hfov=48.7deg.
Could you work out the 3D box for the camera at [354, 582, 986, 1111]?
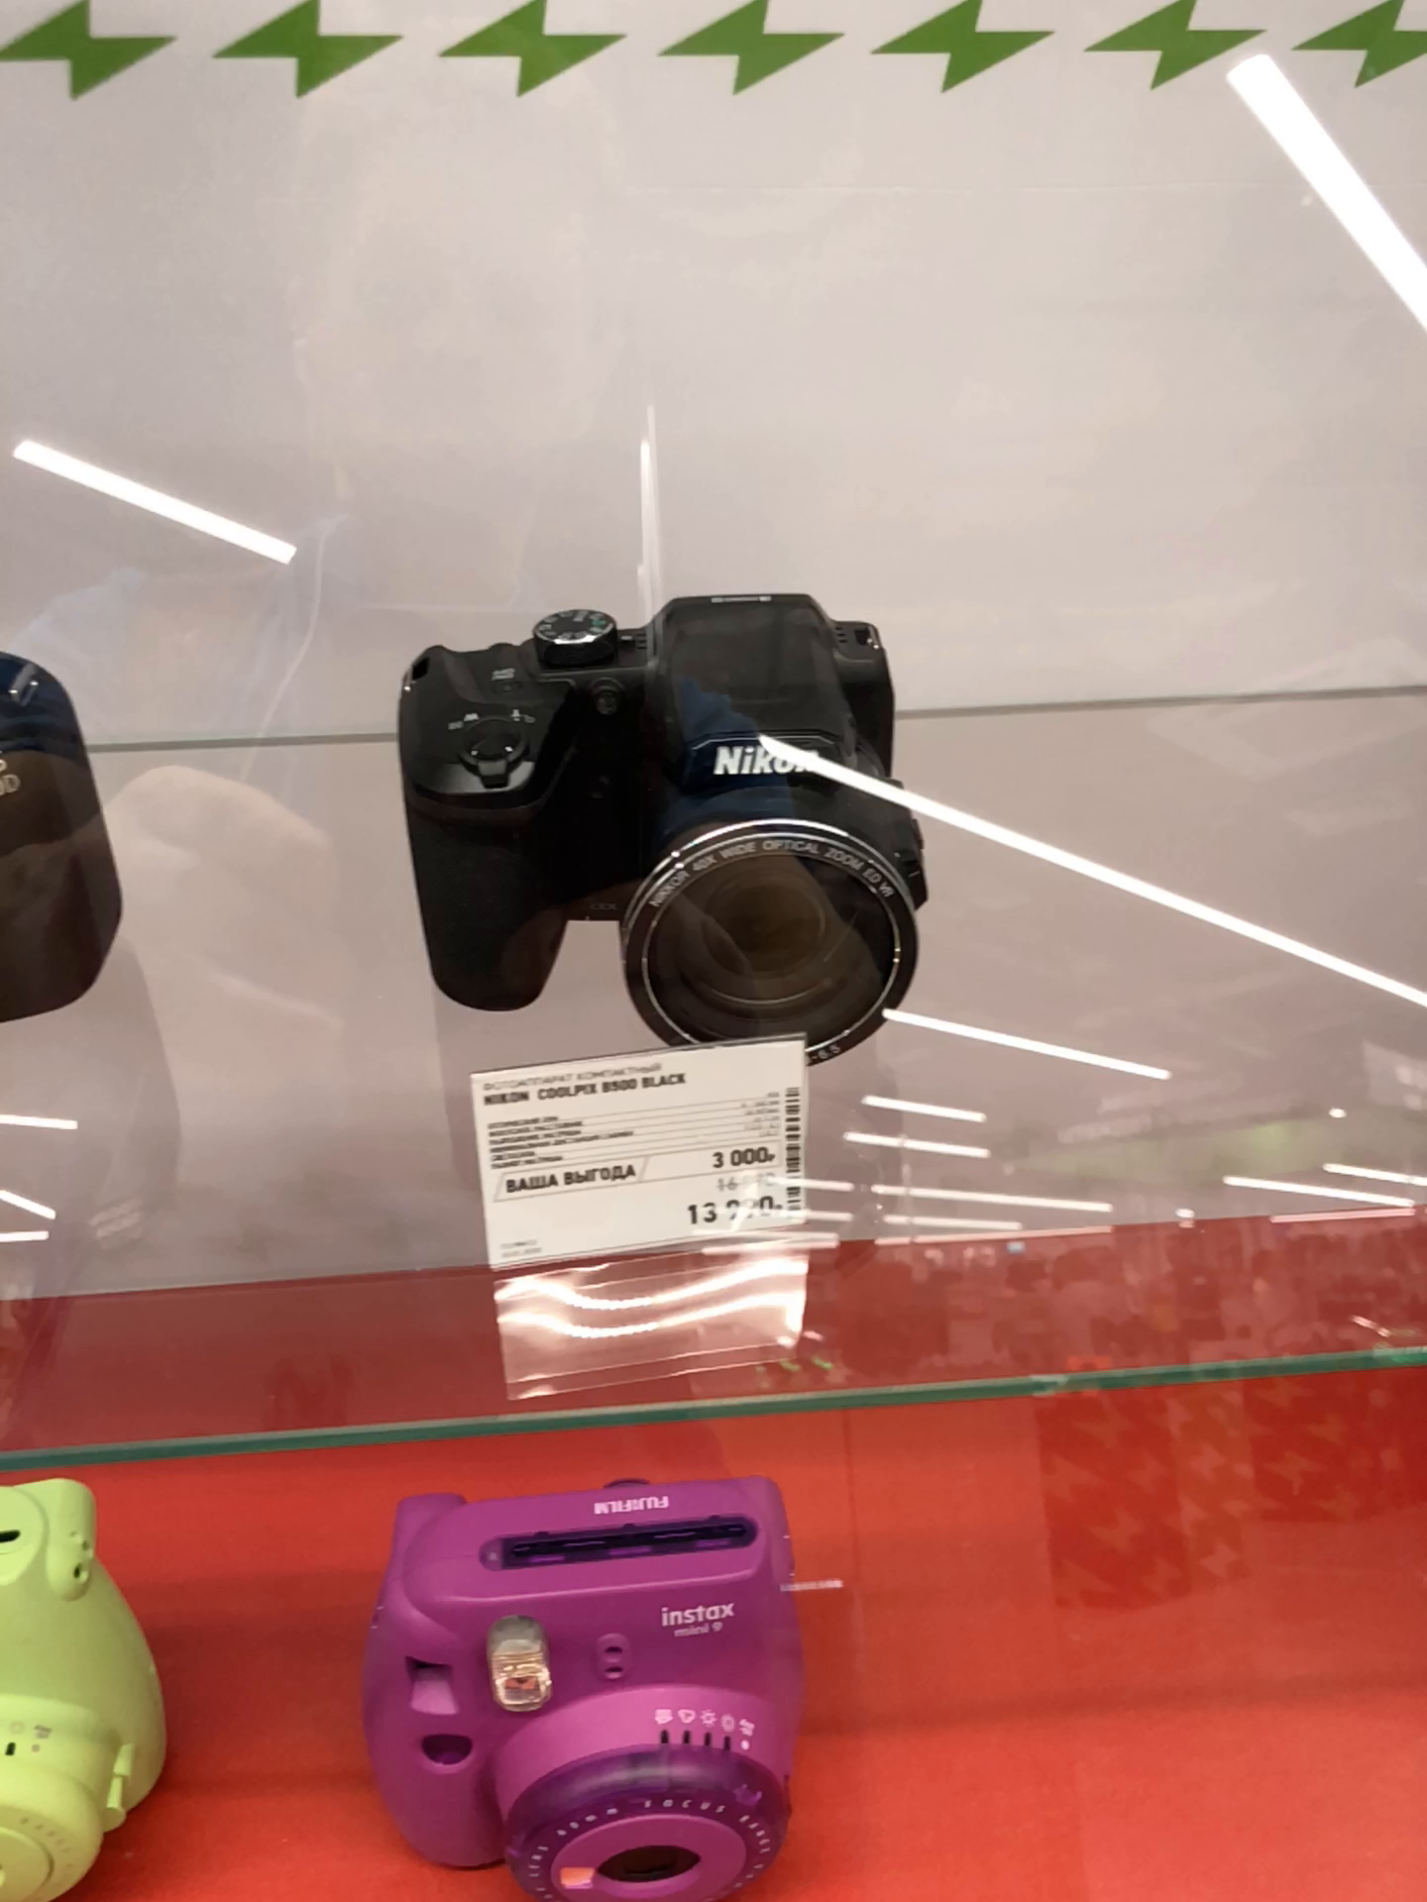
[{"bbox_3d":[-0.011,-0.027,0.347,0.115,0.070,0.101,-2,36,-3],"label":"camera"}]
